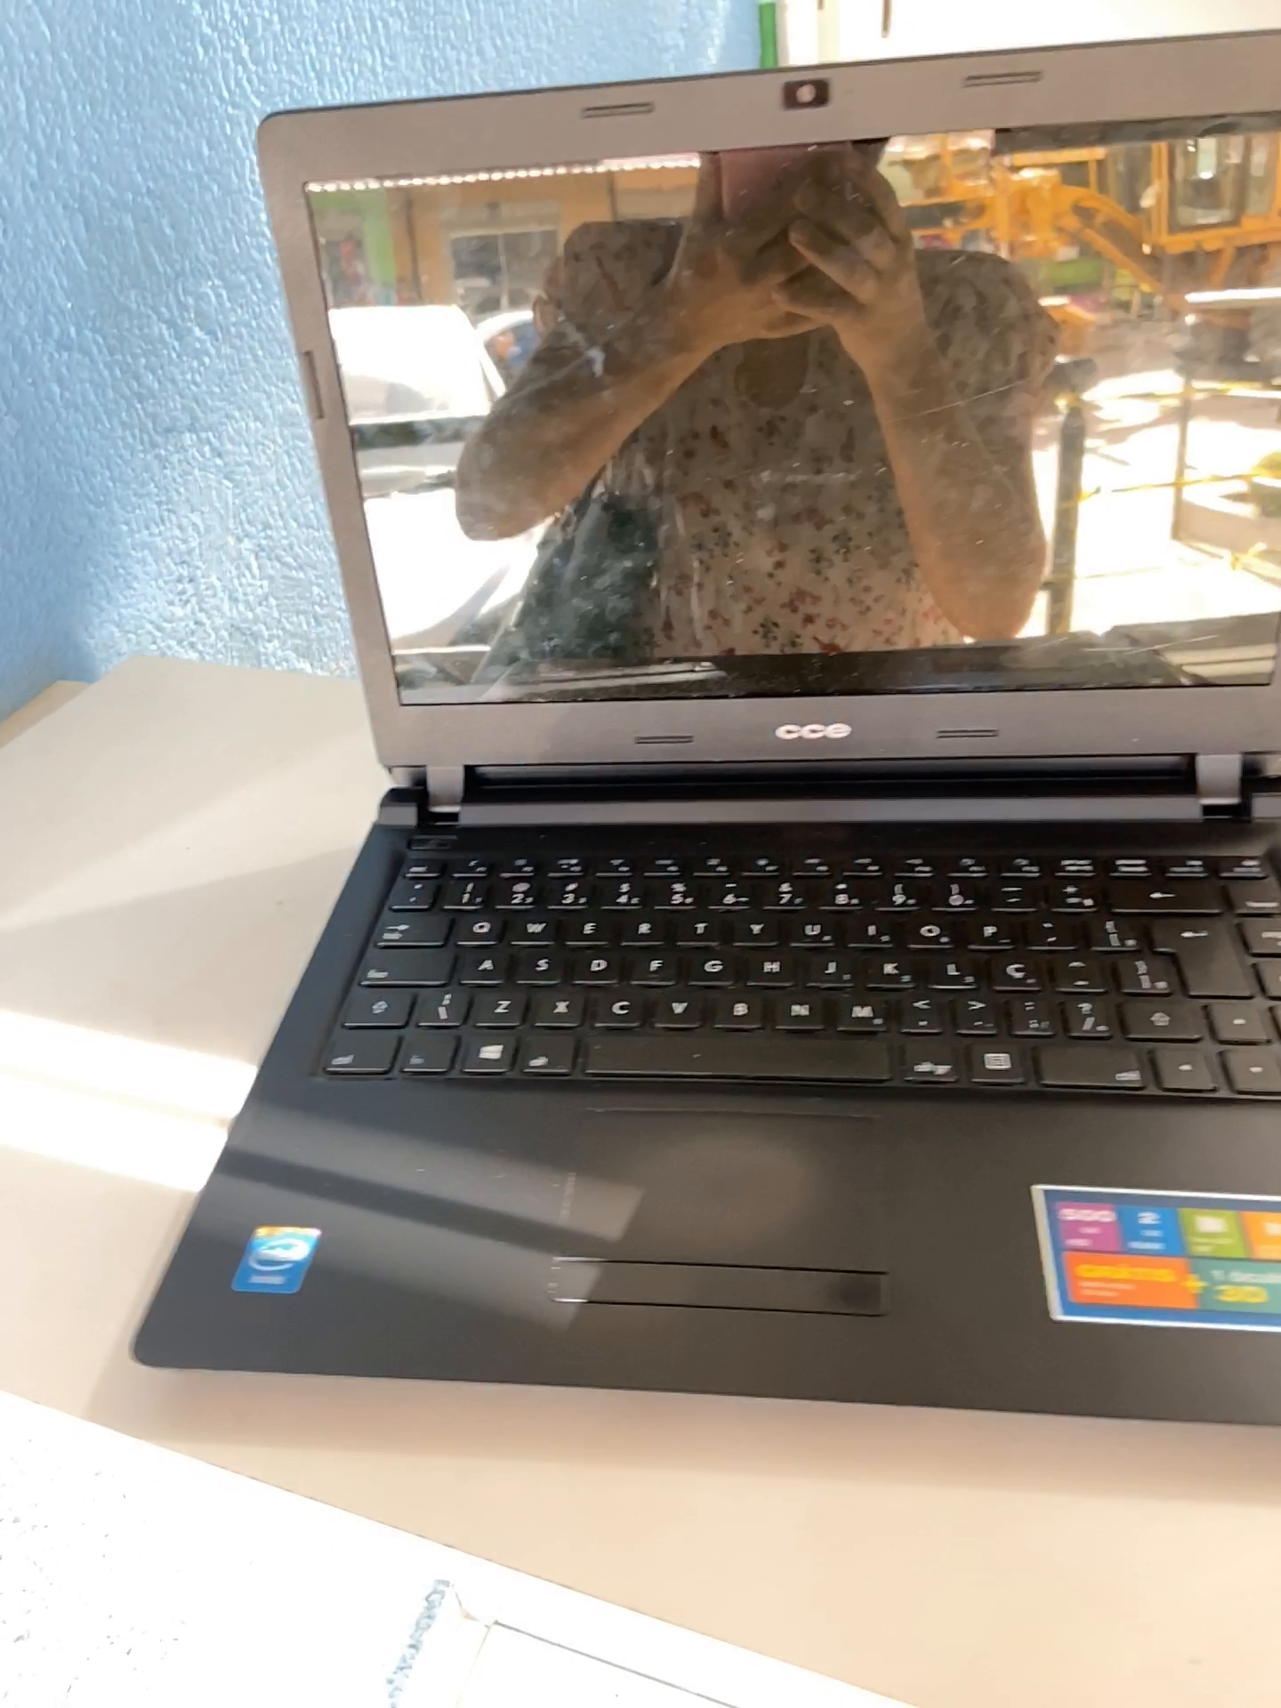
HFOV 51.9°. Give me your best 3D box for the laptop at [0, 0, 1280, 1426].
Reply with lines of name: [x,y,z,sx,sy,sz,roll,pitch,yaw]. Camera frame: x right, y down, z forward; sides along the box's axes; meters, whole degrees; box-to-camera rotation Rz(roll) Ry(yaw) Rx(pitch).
laptop: [0.045,-0.053,0.336,0.323,0.216,0.268,-1,37,10]
